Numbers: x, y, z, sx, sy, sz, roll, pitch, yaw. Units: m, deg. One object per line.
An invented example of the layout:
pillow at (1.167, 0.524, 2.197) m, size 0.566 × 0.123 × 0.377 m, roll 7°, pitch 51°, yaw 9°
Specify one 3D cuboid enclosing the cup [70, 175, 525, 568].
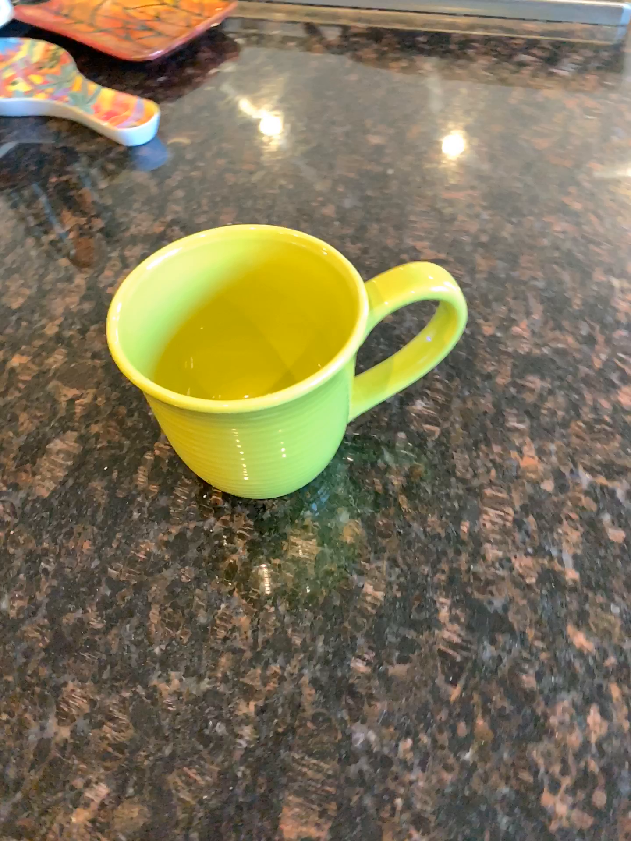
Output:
cup at (-0.012, -0.025, 0.287) m, size 0.150 × 0.080 × 0.110 m, roll -18°, pitch 55°, yaw -10°
